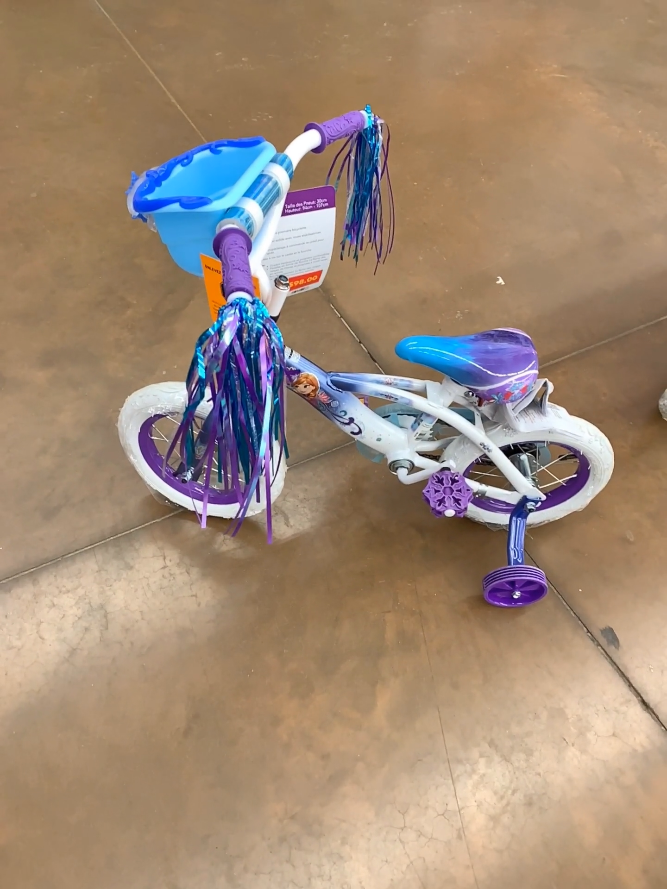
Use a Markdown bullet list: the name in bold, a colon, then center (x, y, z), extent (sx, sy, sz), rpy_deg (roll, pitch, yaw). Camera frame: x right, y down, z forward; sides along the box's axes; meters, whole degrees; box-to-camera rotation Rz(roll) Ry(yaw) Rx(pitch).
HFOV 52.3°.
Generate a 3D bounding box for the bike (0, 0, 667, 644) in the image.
- **bike**: center (0.084, -0.091, 0.936), extent (0.804, 0.633, 0.441), rpy_deg (7, 52, -5)
